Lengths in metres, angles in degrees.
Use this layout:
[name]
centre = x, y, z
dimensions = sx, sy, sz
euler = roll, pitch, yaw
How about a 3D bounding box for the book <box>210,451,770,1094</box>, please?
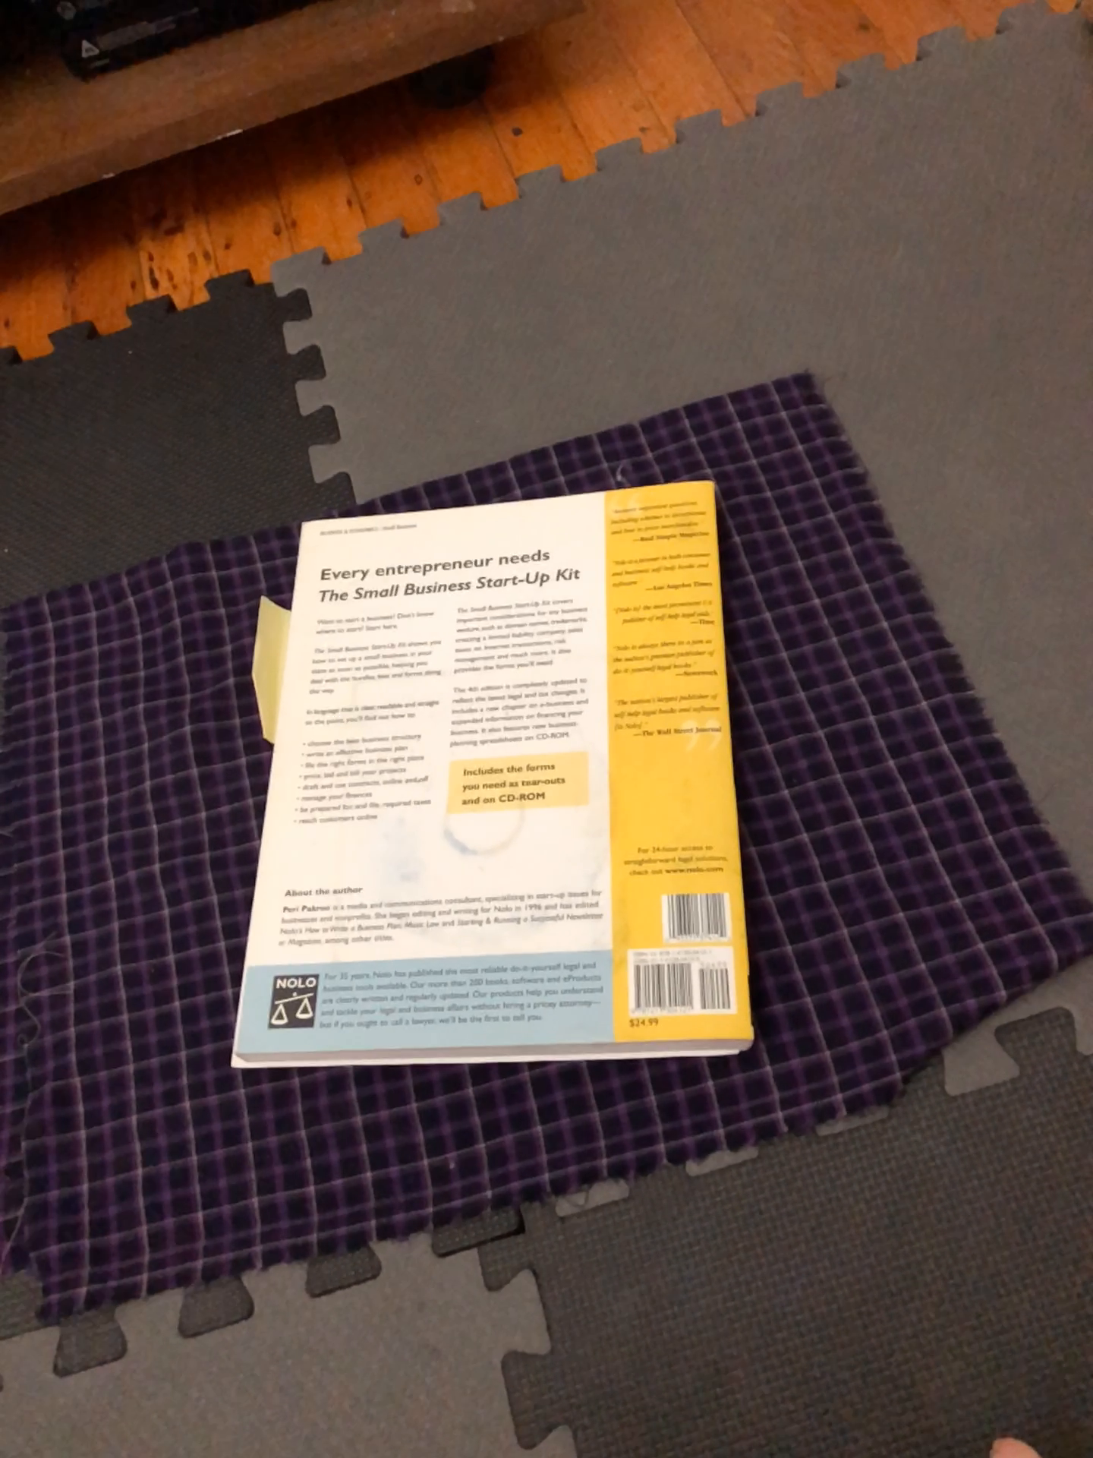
[book]
centre = -0.022, 0.009, 0.570
dimensions = 0.230, 0.030, 0.311
euler = -4, 61, 9
